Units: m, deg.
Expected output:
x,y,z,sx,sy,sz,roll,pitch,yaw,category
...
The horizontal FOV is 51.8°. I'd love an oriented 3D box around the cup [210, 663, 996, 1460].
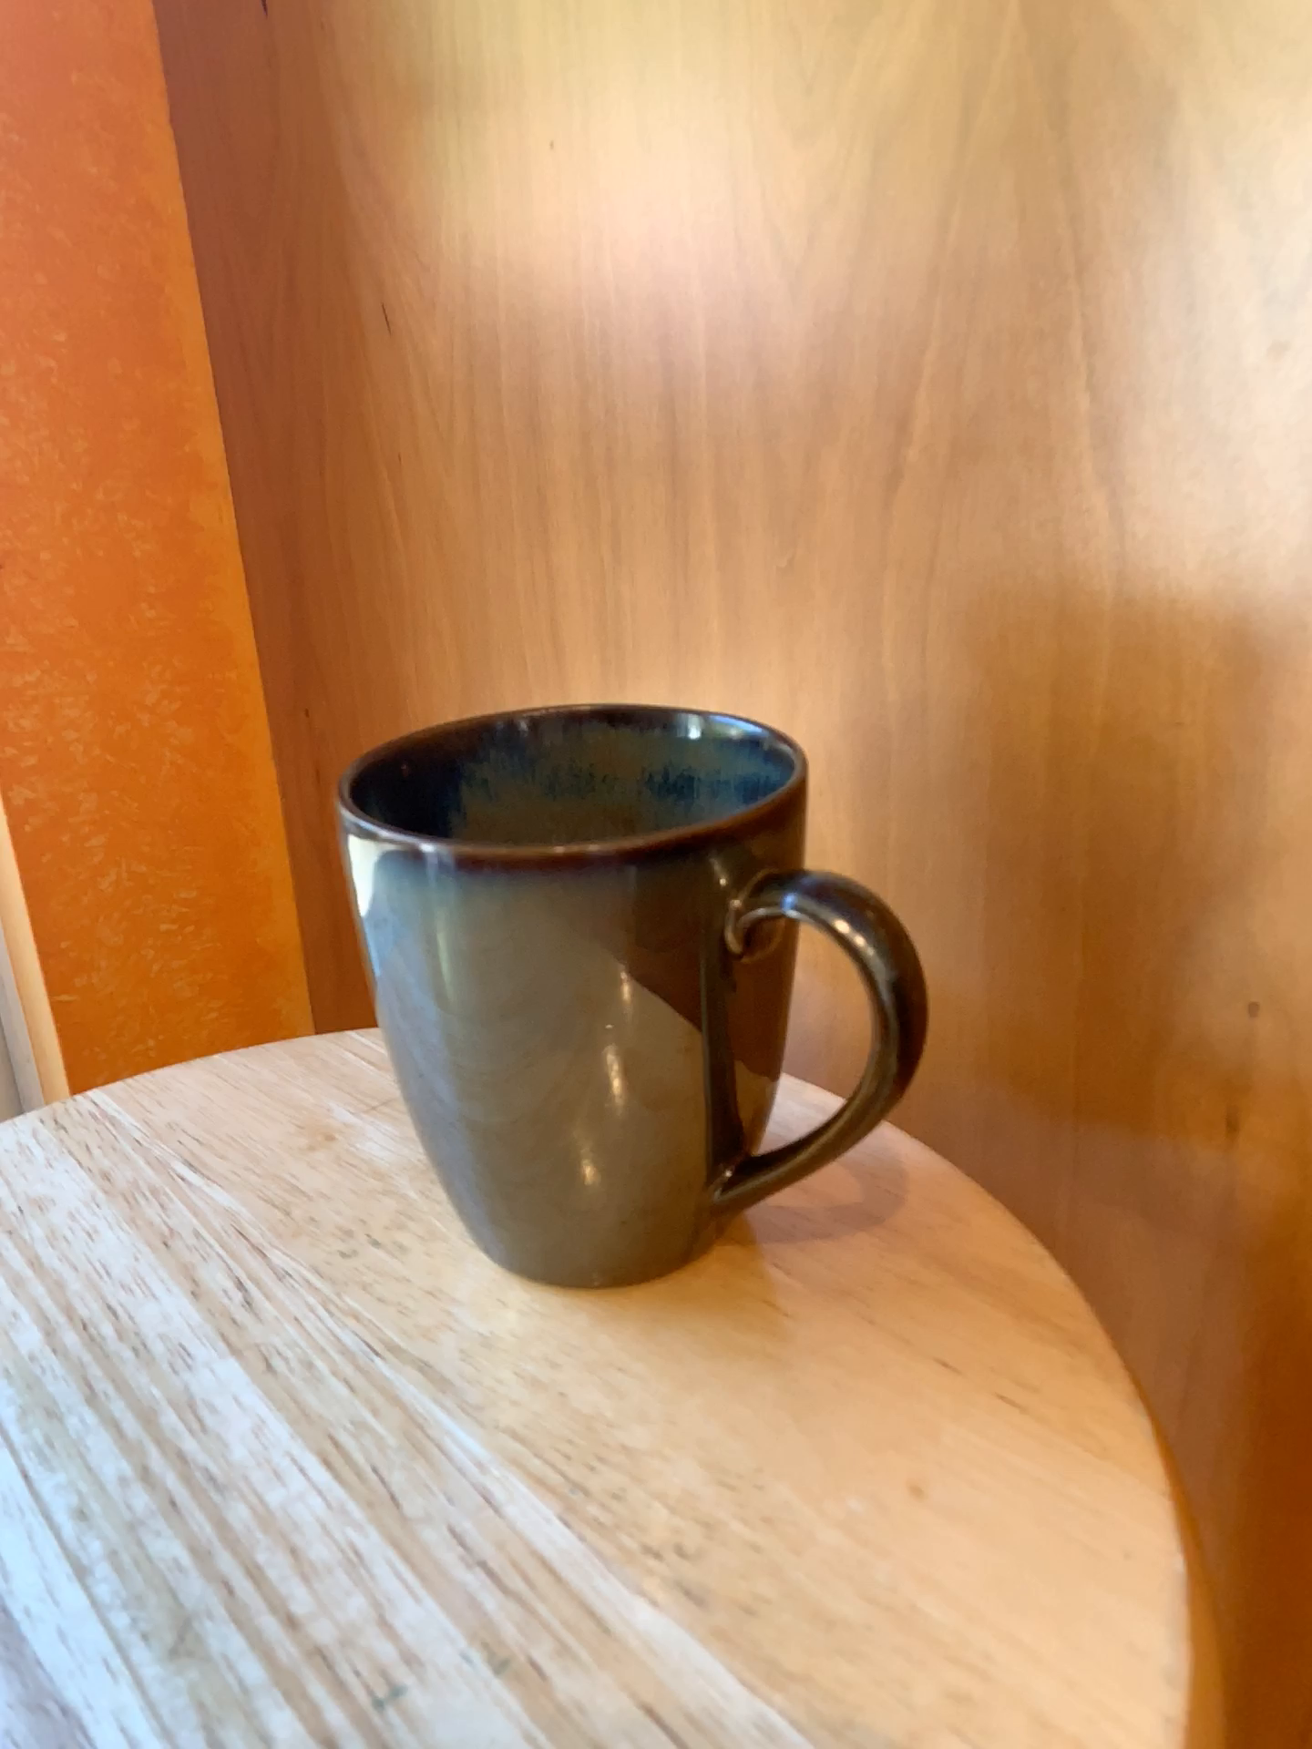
x,y,z,sx,sy,sz,roll,pitch,yaw,category
-0.013,0.020,0.254,0.080,0.090,0.120,-20,28,-38,cup
